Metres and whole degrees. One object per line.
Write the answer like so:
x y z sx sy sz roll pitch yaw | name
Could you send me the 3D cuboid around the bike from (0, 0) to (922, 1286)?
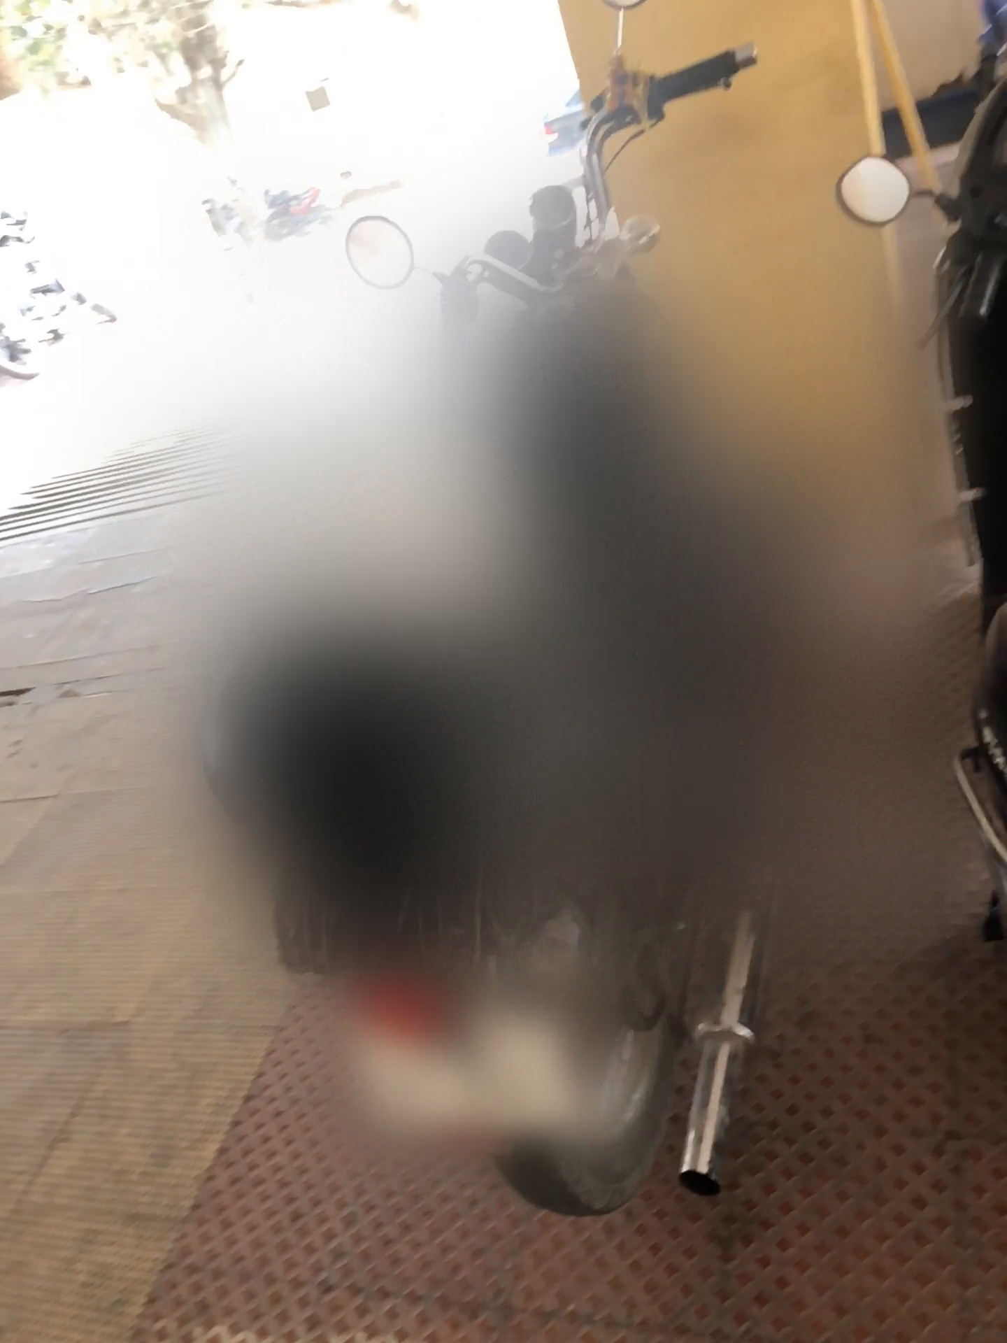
0.045 -0.246 1.886 0.784 1.178 1.818 -11 35 17 | bike
